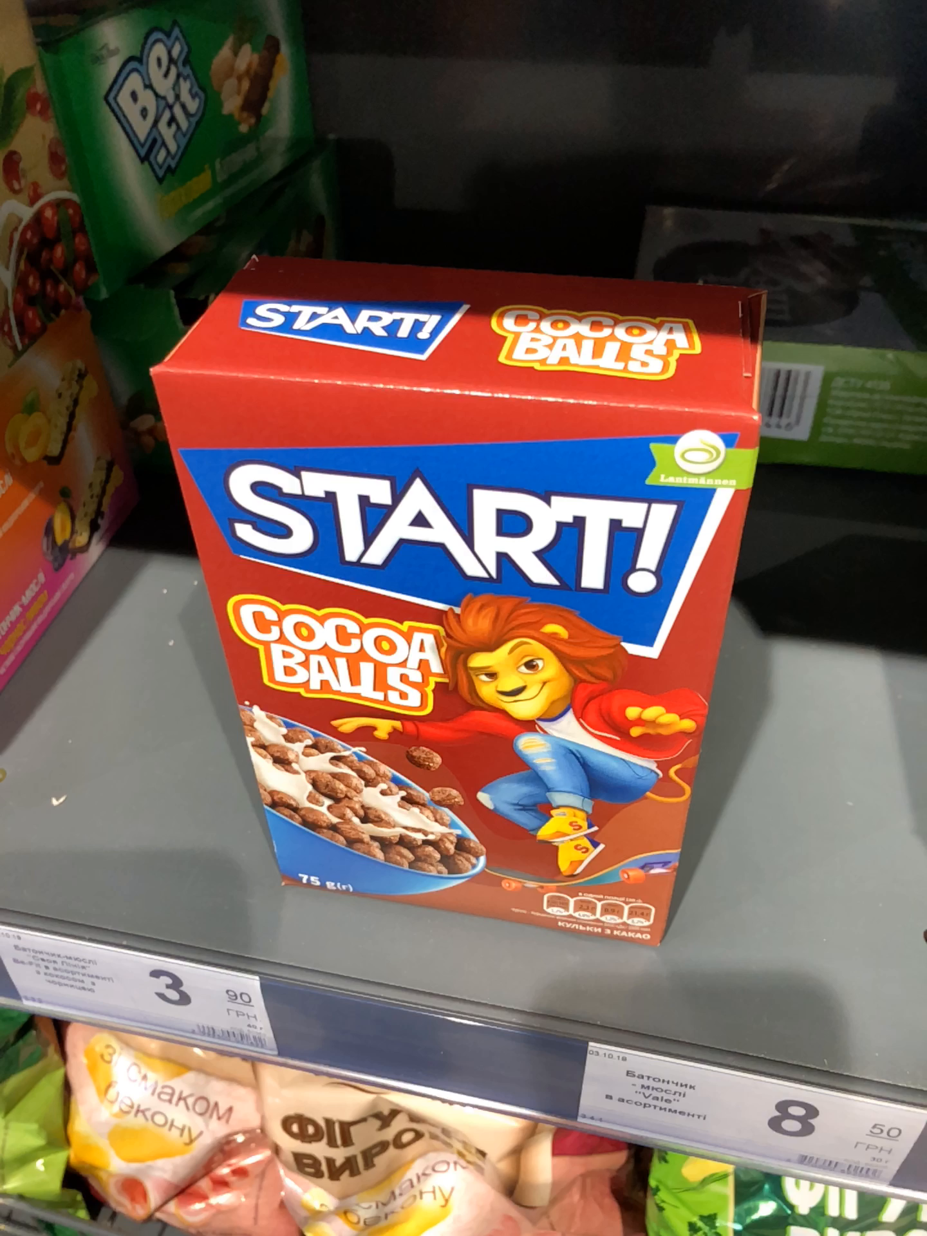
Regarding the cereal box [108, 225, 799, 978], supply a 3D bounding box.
[{"bbox_3d":[0.003,0.007,0.242,0.110,0.169,0.060,6,45,8],"label":"cereal box"}]
